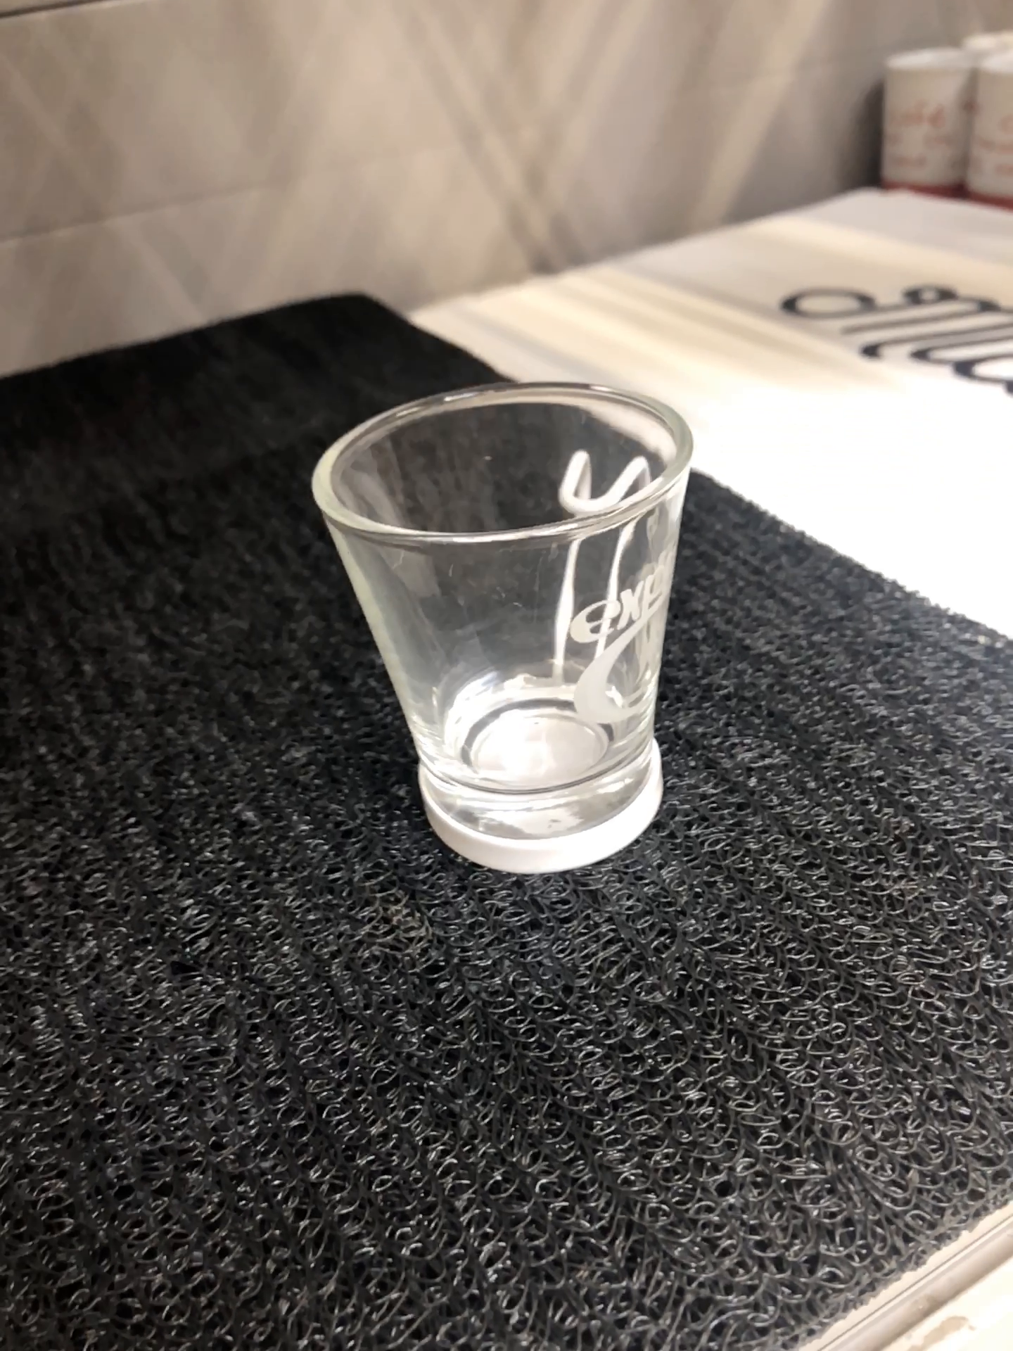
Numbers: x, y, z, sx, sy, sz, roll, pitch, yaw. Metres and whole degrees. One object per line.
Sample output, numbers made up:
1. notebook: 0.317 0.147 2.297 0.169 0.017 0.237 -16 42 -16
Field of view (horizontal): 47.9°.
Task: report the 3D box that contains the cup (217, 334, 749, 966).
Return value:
1. cup: 0.004 -0.011 0.200 0.059 0.063 0.093 8 37 15
